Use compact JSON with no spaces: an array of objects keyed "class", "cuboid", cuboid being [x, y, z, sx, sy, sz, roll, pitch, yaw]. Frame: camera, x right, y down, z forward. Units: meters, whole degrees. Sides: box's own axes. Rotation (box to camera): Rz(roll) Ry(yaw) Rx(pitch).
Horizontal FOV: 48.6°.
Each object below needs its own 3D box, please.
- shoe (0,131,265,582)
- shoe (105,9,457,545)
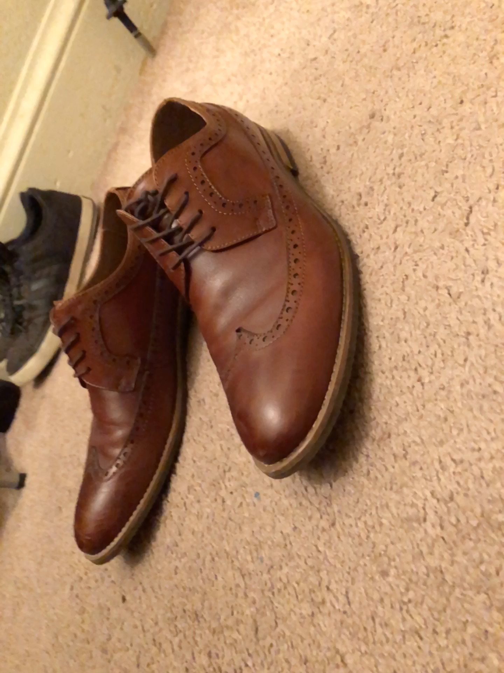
[{"class":"shoe","cuboid":[-0.097,0.016,0.455,0.115,0.114,0.310,-9,65,54]},{"class":"shoe","cuboid":[-0.006,-0.052,0.349,0.115,0.114,0.311,-42,41,36]}]
